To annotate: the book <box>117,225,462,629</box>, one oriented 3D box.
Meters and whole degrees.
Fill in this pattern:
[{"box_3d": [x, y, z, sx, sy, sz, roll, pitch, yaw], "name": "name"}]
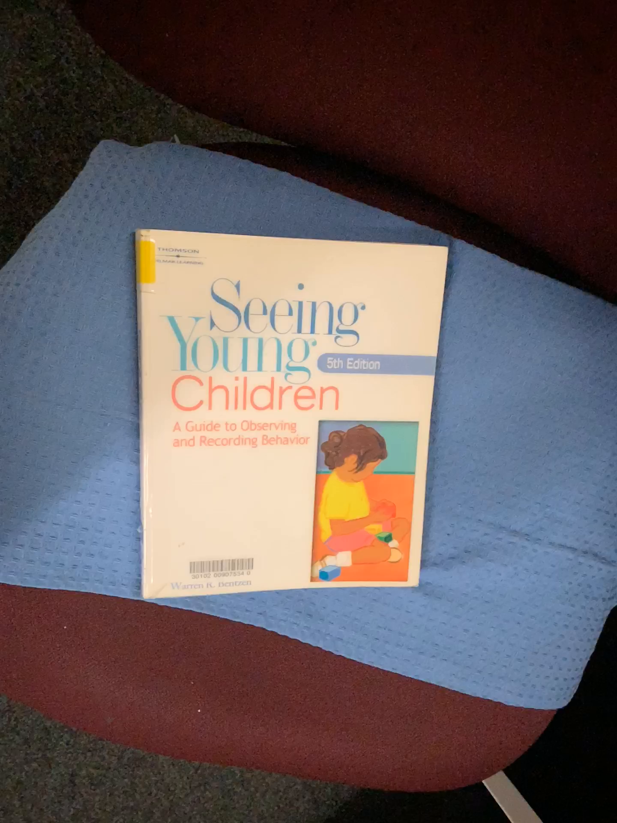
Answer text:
[{"box_3d": [-0.015, 0.015, 0.409, 0.200, 0.030, 0.250, 0, 106, -12], "name": "book"}]
